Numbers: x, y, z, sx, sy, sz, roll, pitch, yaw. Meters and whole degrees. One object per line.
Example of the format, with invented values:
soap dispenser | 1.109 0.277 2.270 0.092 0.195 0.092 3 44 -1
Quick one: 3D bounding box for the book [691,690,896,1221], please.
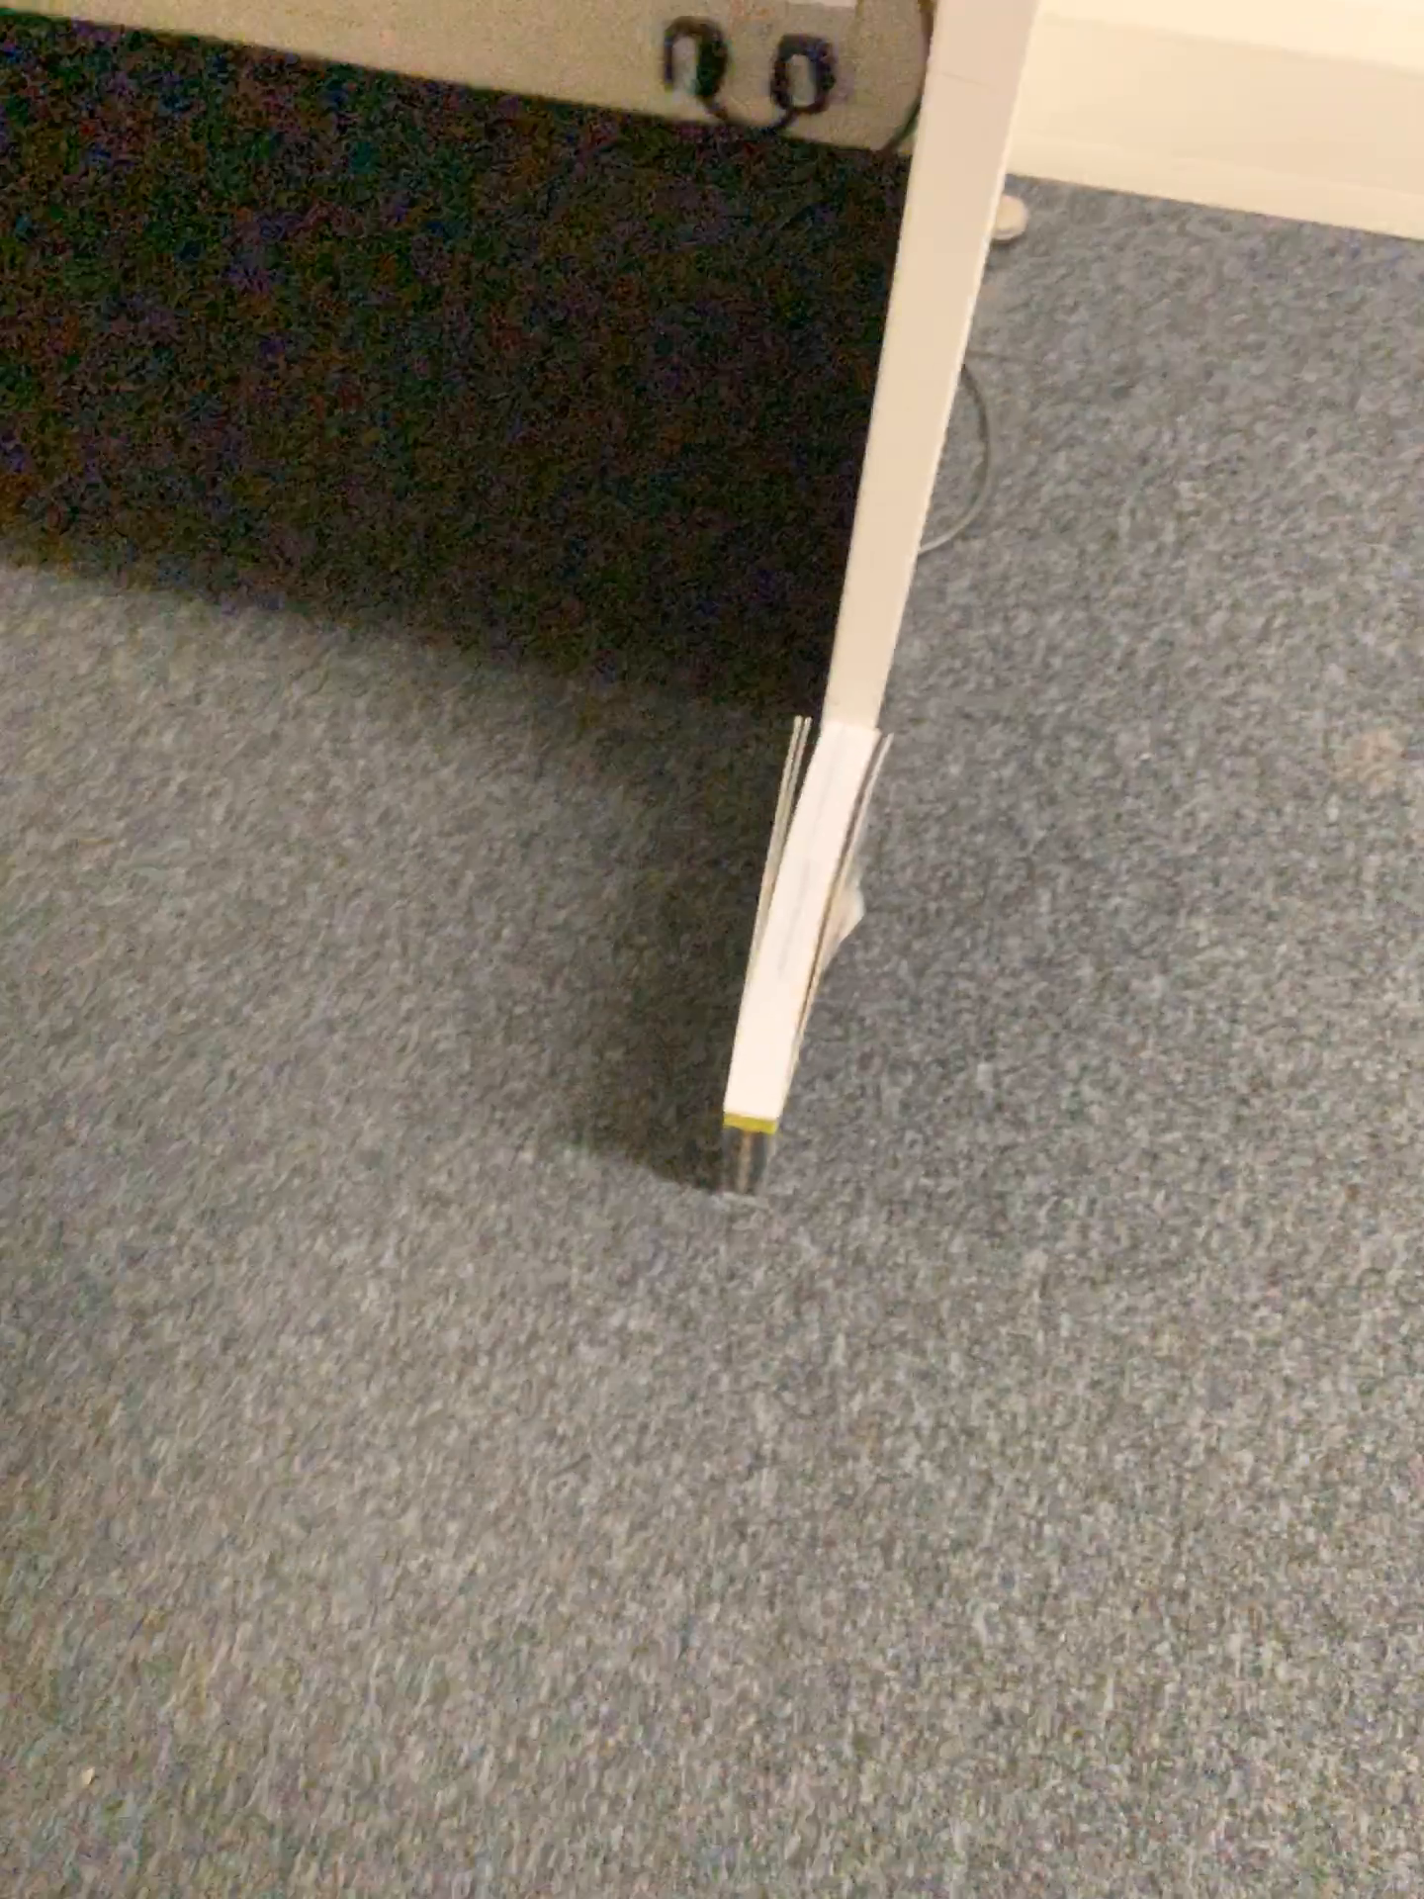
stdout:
book | 0.040 0.021 0.804 0.051 0.276 0.212 12 72 4
